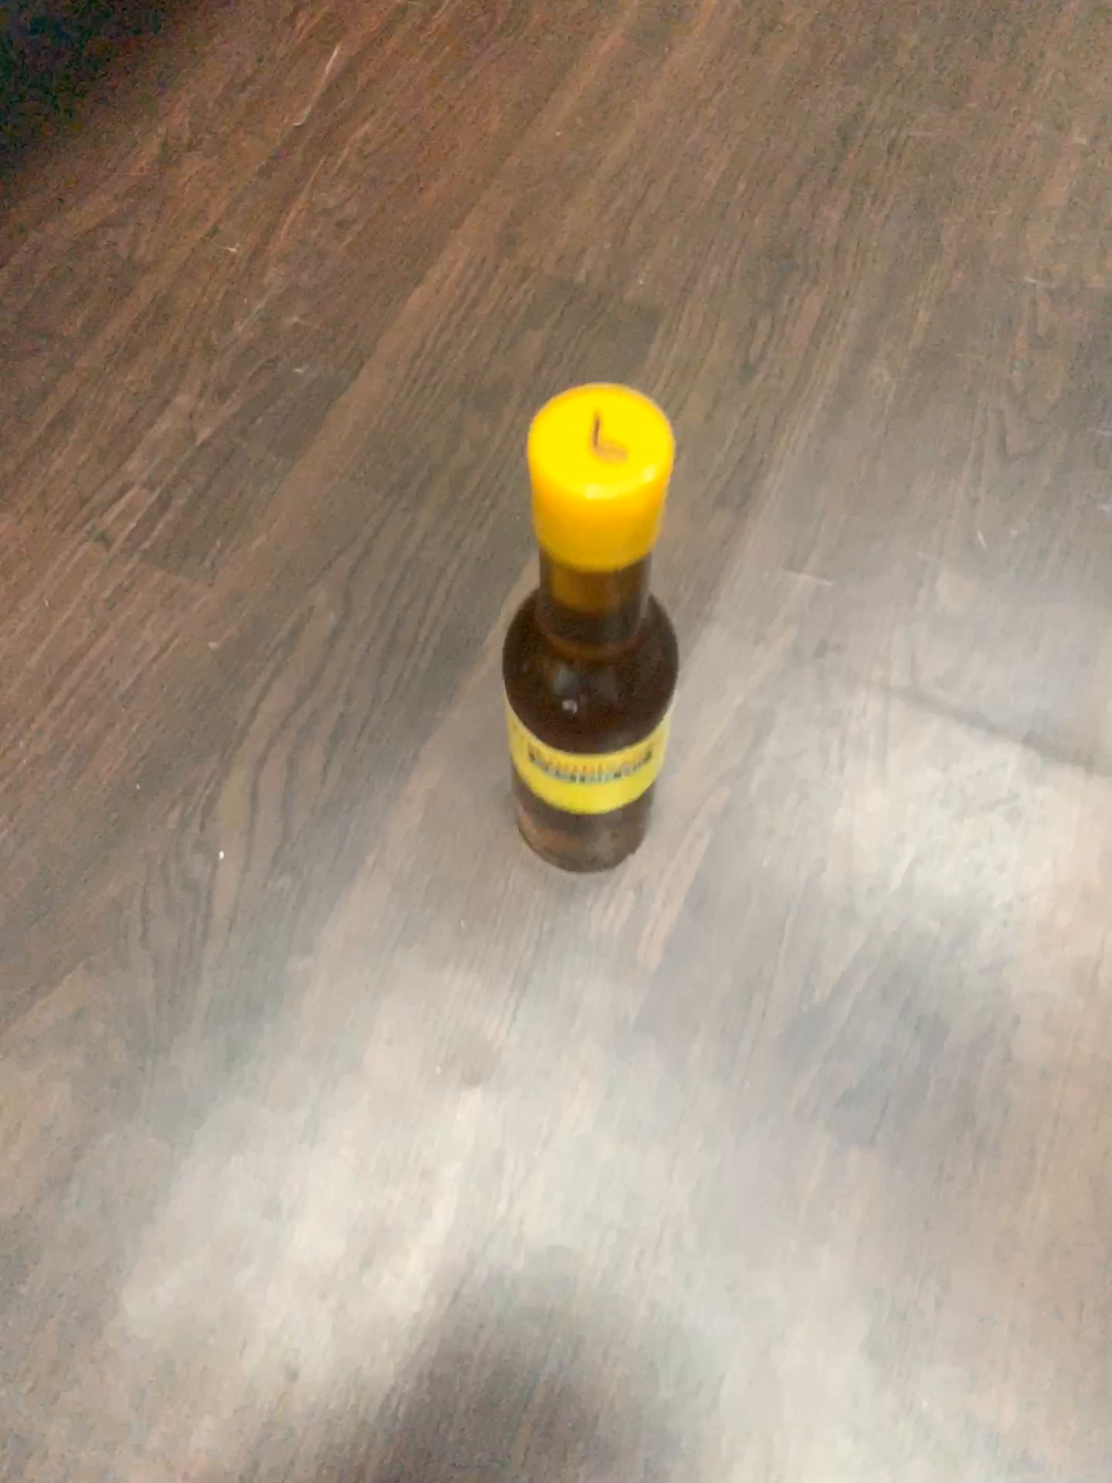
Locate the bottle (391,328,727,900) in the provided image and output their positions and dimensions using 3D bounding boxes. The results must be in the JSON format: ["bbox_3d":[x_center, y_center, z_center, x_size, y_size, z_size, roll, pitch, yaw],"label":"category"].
[{"bbox_3d":[0.002,-0.017,0.292,0.060,0.170,0.060,0,63,0],"label":"bottle"}]
